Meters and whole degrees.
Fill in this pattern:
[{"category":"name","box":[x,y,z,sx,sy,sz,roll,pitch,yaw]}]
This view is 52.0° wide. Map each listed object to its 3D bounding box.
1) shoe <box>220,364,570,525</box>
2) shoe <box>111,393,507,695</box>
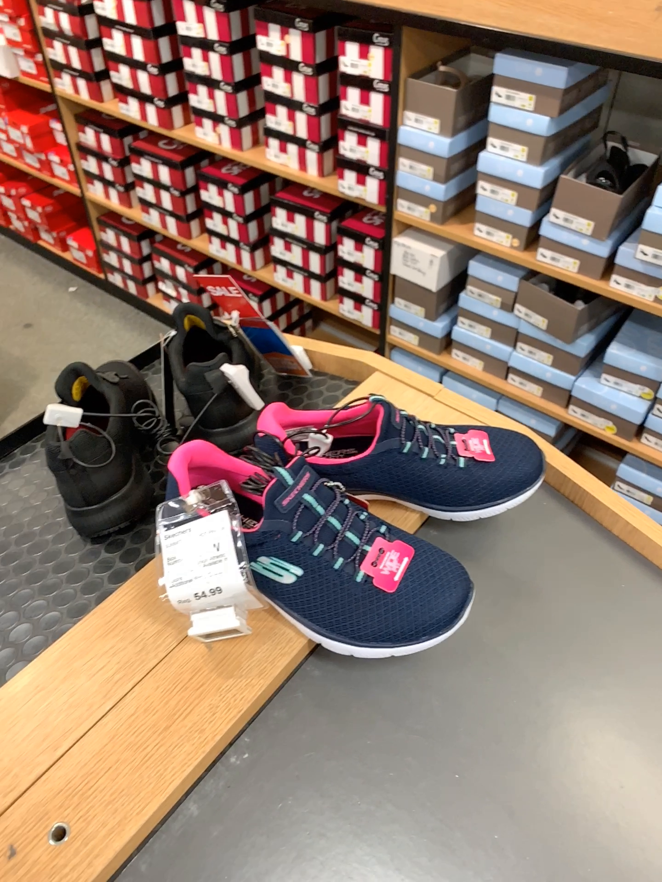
[{"category":"shoe","box":[0.049,0.002,0.573,0.260,0.090,0.100,0,46,1]},{"category":"shoe","box":[-0.015,0.068,0.504,0.250,0.100,0.110,17,48,17]}]
